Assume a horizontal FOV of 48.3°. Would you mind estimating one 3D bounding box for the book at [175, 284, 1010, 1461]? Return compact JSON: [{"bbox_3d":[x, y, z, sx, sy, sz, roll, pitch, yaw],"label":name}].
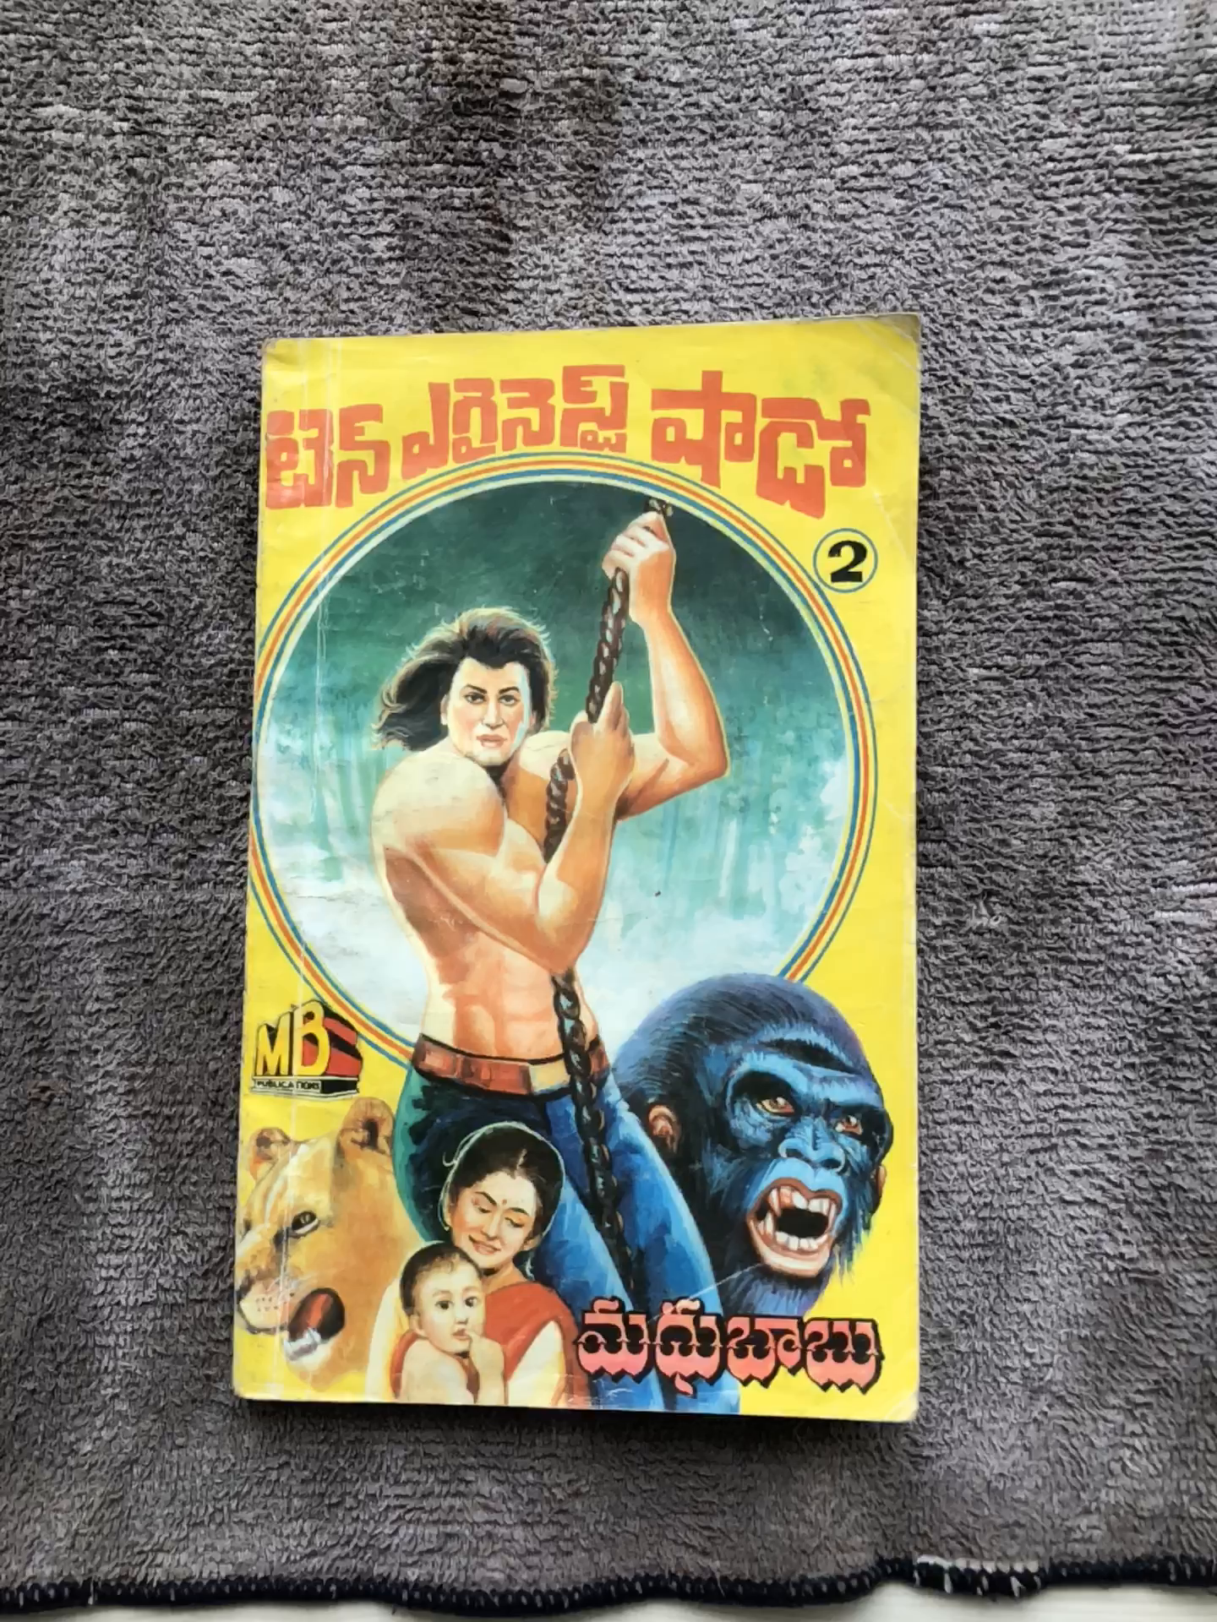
[{"bbox_3d":[-0.002,0.006,0.195,0.110,0.020,0.160,0,85,1],"label":"book"}]
